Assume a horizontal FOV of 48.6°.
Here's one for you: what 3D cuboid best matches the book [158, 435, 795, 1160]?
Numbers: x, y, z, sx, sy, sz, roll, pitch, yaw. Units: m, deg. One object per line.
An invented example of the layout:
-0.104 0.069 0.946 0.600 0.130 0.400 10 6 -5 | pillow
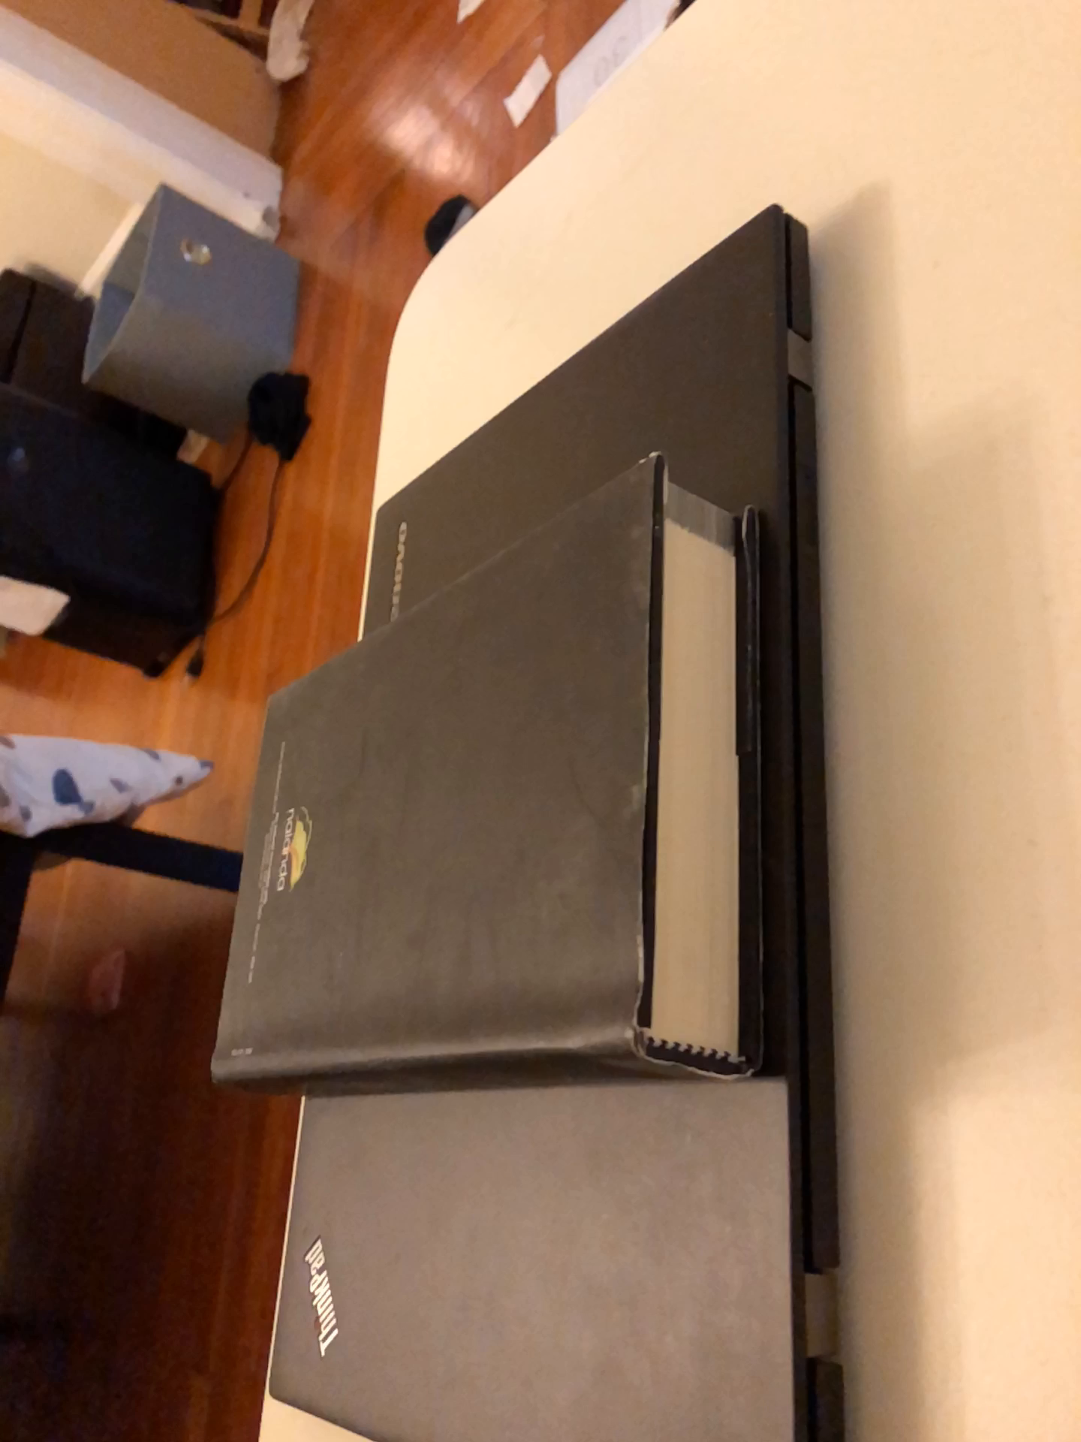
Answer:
-0.032 0.039 0.338 0.231 0.040 0.150 -21 57 48 | book
